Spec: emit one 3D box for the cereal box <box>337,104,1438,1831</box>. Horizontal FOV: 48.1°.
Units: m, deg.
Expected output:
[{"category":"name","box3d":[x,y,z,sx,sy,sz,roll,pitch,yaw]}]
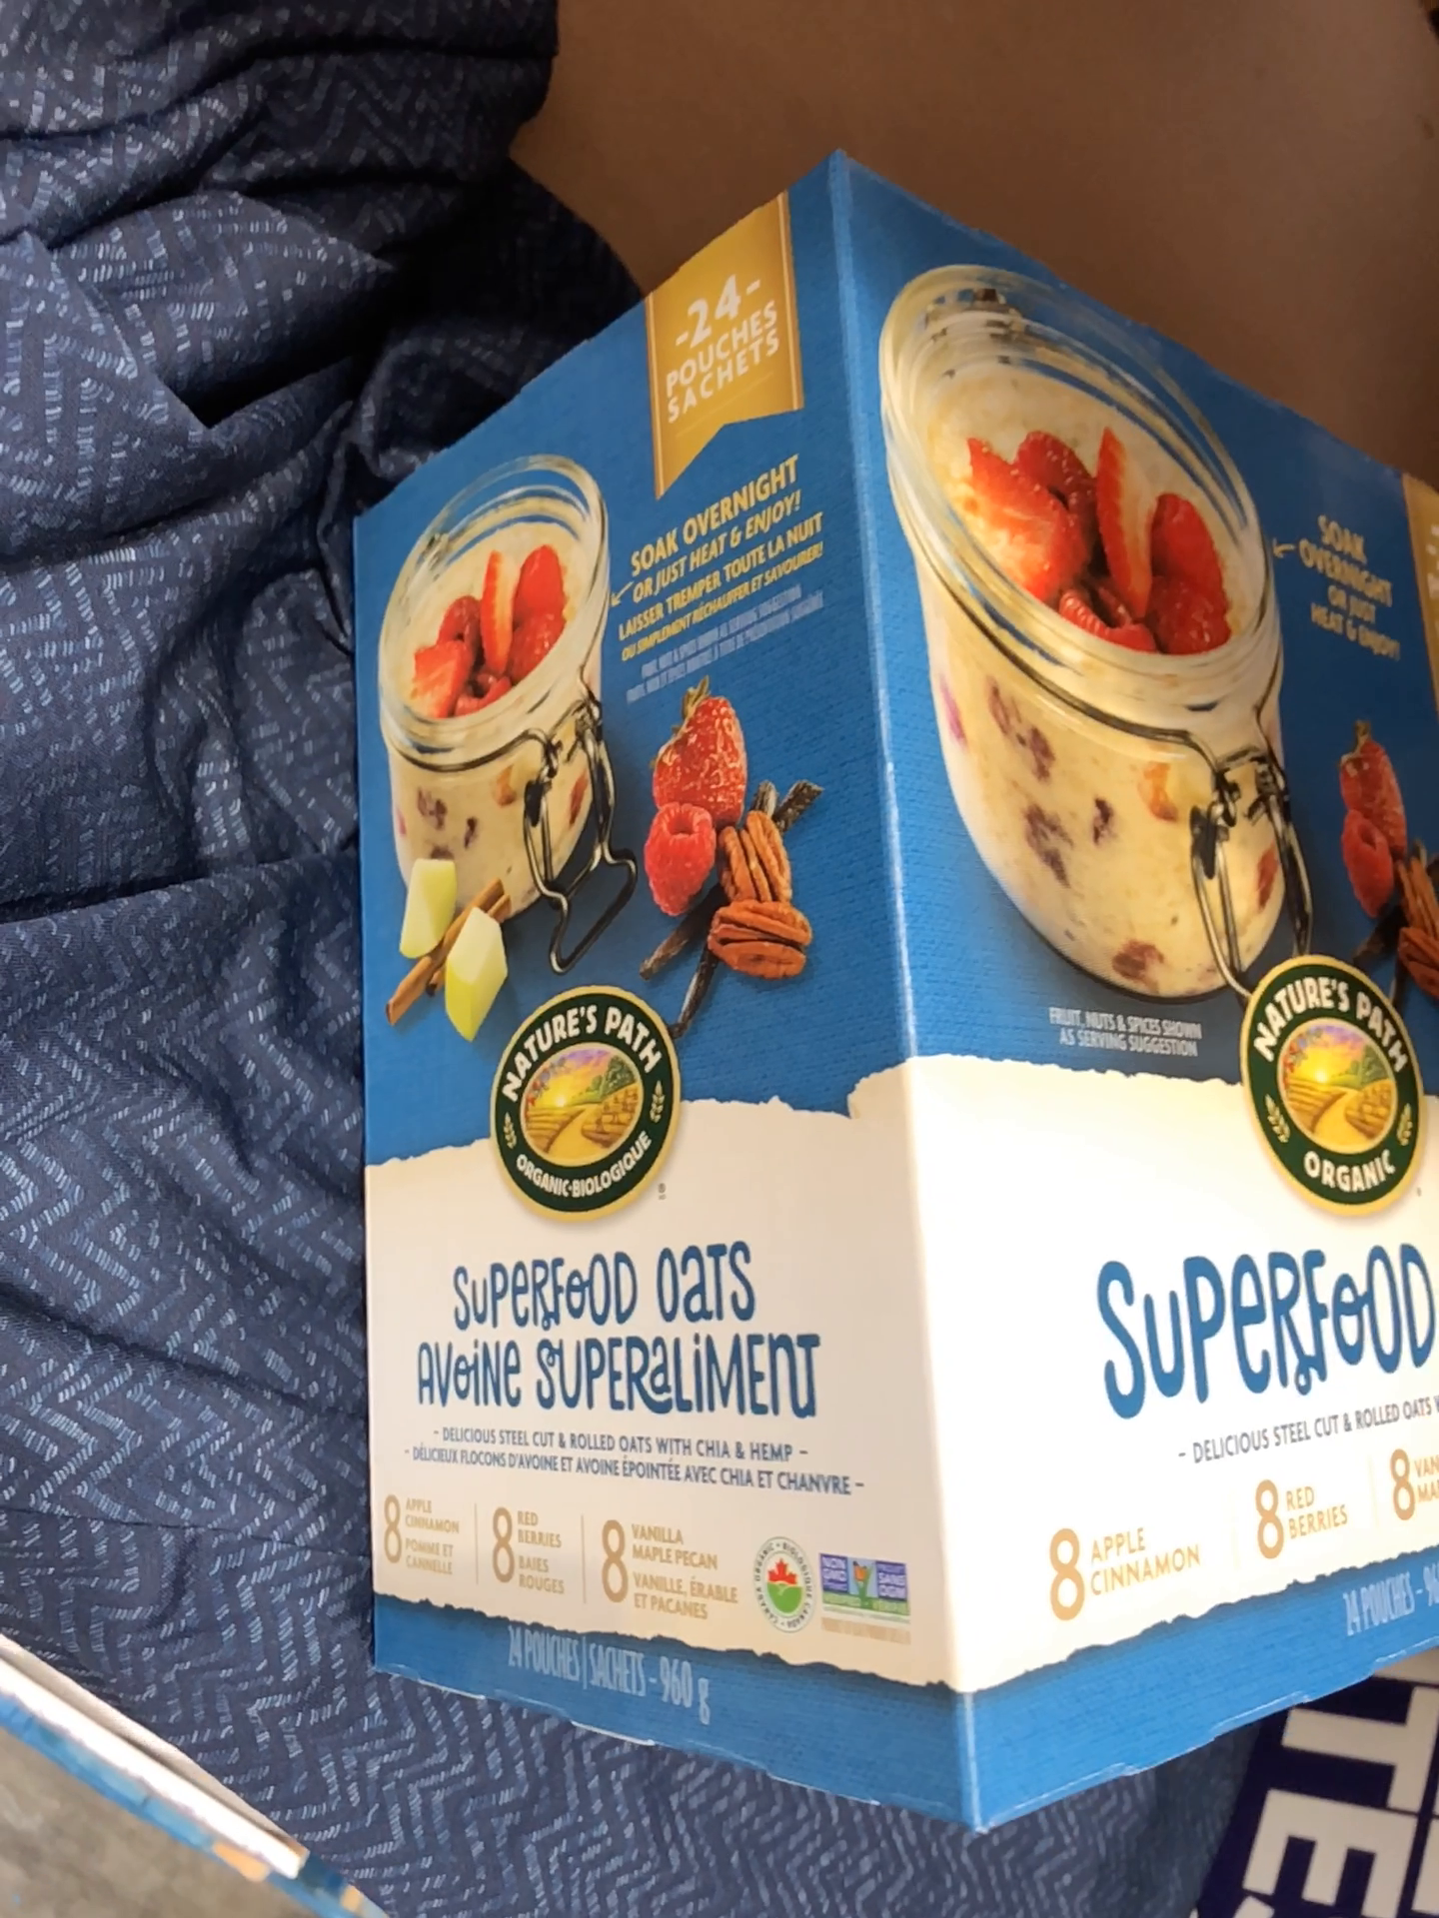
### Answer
[{"category":"cereal box","box3d":[0.068,0.013,0.356,0.251,0.149,0.240,6,75,-42]}]
